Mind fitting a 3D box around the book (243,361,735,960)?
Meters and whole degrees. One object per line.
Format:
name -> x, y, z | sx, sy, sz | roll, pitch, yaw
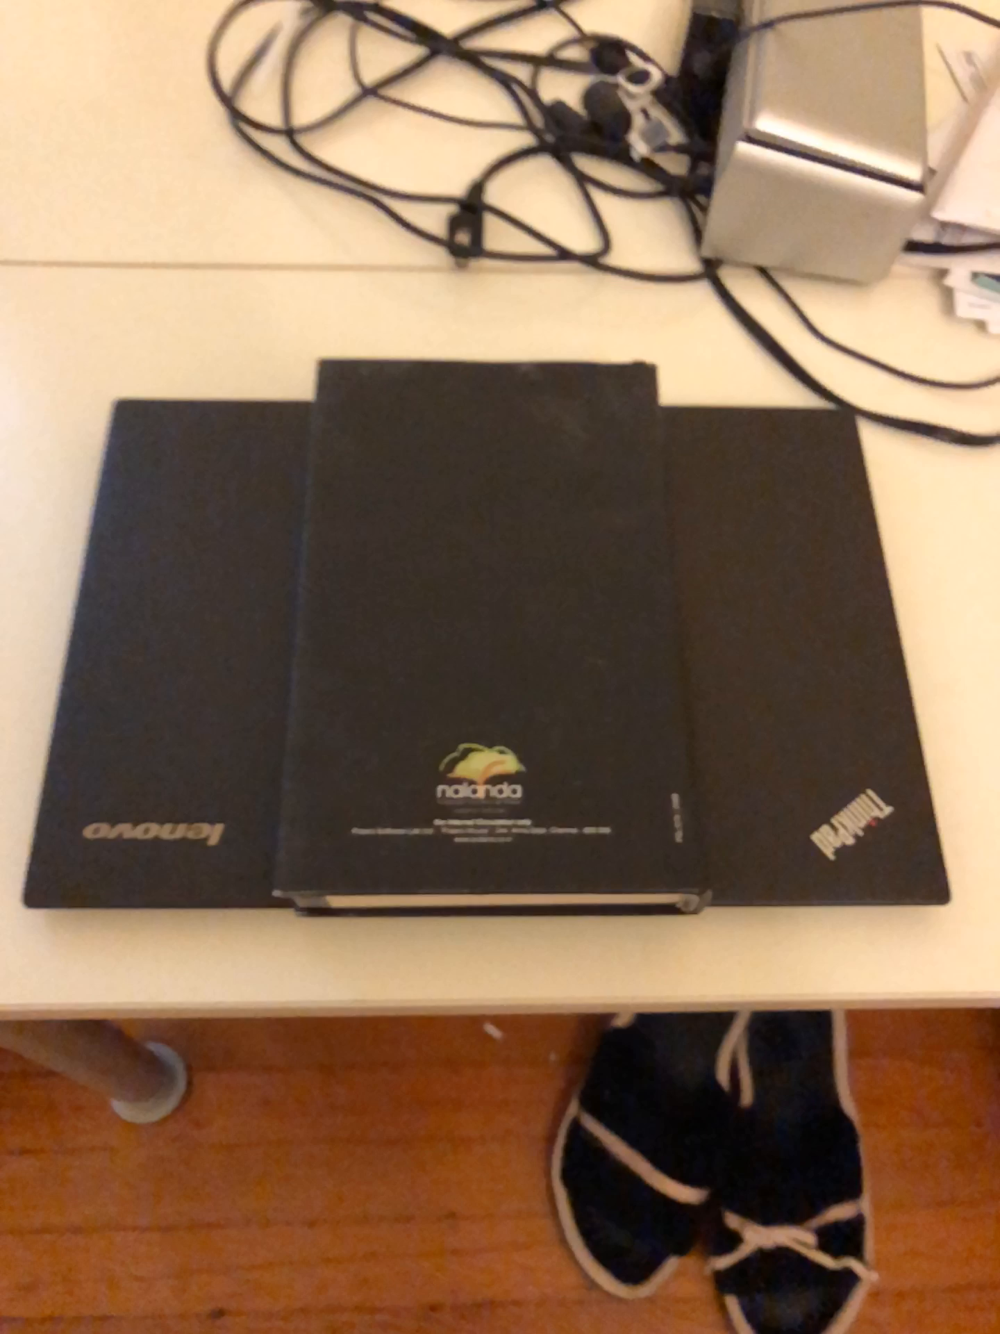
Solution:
book -> -0.006, -0.013, 0.413 | 0.150, 0.040, 0.231 | 0, 61, -2
